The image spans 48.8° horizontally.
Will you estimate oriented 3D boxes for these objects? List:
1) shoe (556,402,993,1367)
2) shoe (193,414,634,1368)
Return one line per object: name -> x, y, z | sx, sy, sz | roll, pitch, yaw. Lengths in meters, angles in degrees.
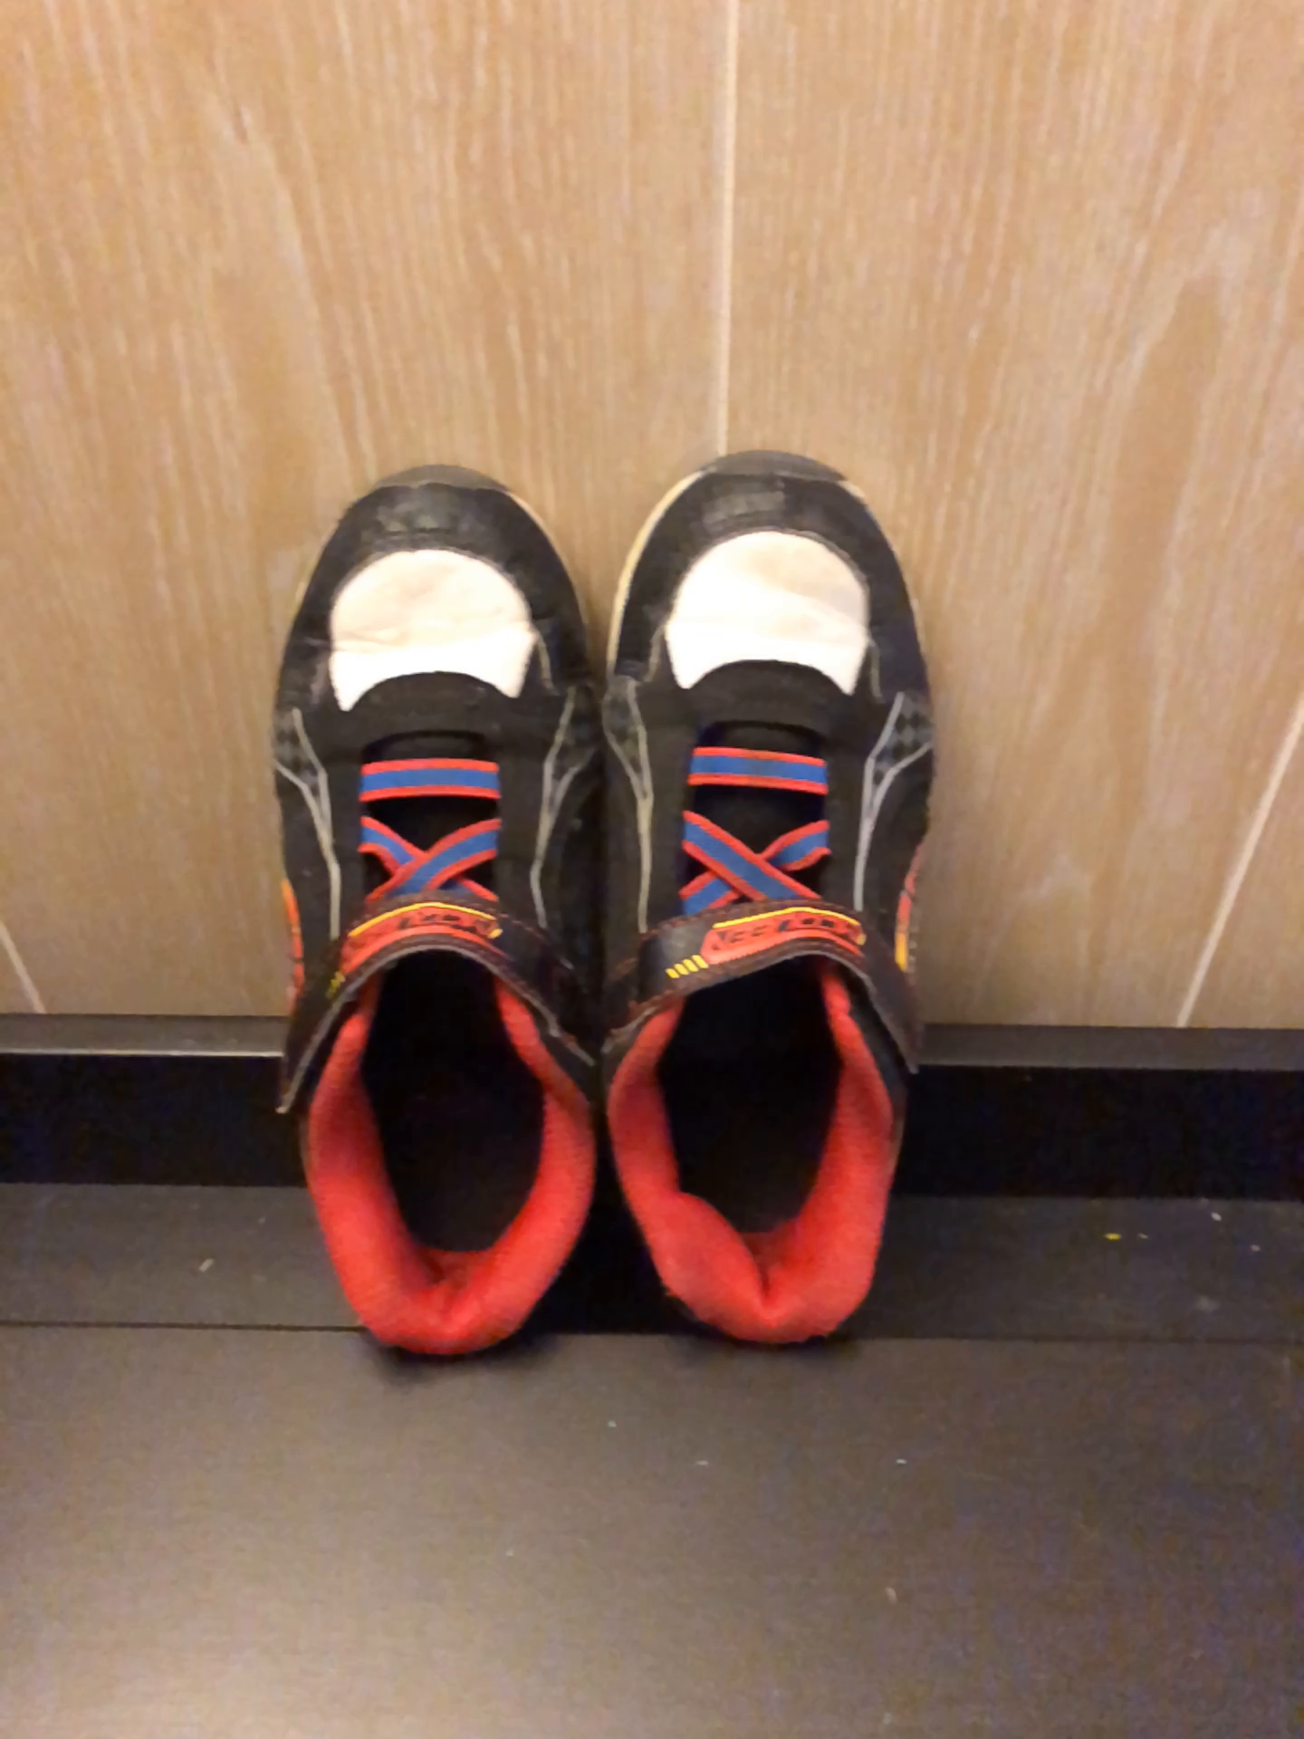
shoe -> 0.027, 0.002, 0.349 | 0.090, 0.210, 0.070 | 1, 5, 2
shoe -> -0.050, 0.004, 0.337 | 0.090, 0.200, 0.070 | 0, 1, 1
